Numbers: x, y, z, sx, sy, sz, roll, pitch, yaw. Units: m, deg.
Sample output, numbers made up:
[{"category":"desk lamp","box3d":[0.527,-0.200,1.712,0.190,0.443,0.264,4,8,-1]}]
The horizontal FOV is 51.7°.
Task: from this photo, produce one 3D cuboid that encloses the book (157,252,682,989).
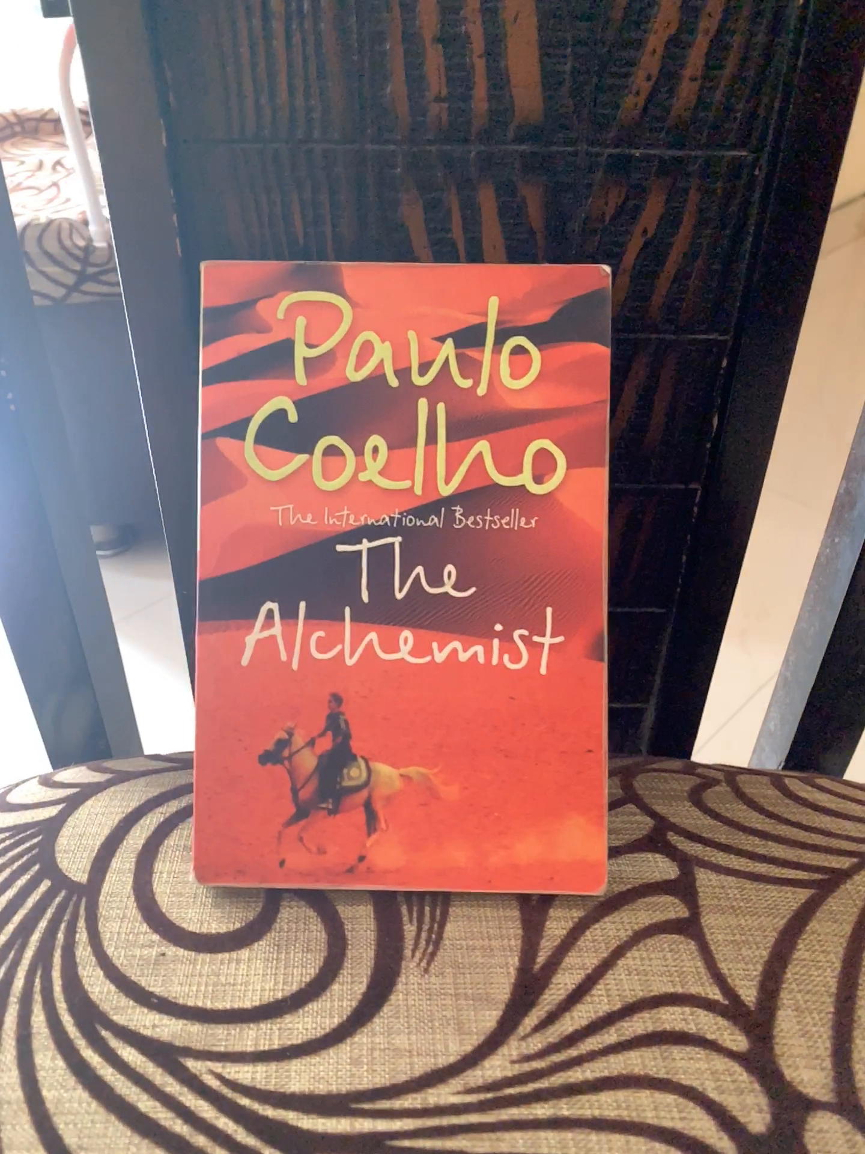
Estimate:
[{"category":"book","box3d":[-0.006,0.008,0.263,0.140,0.200,0.030,-2,-5,-4]}]
